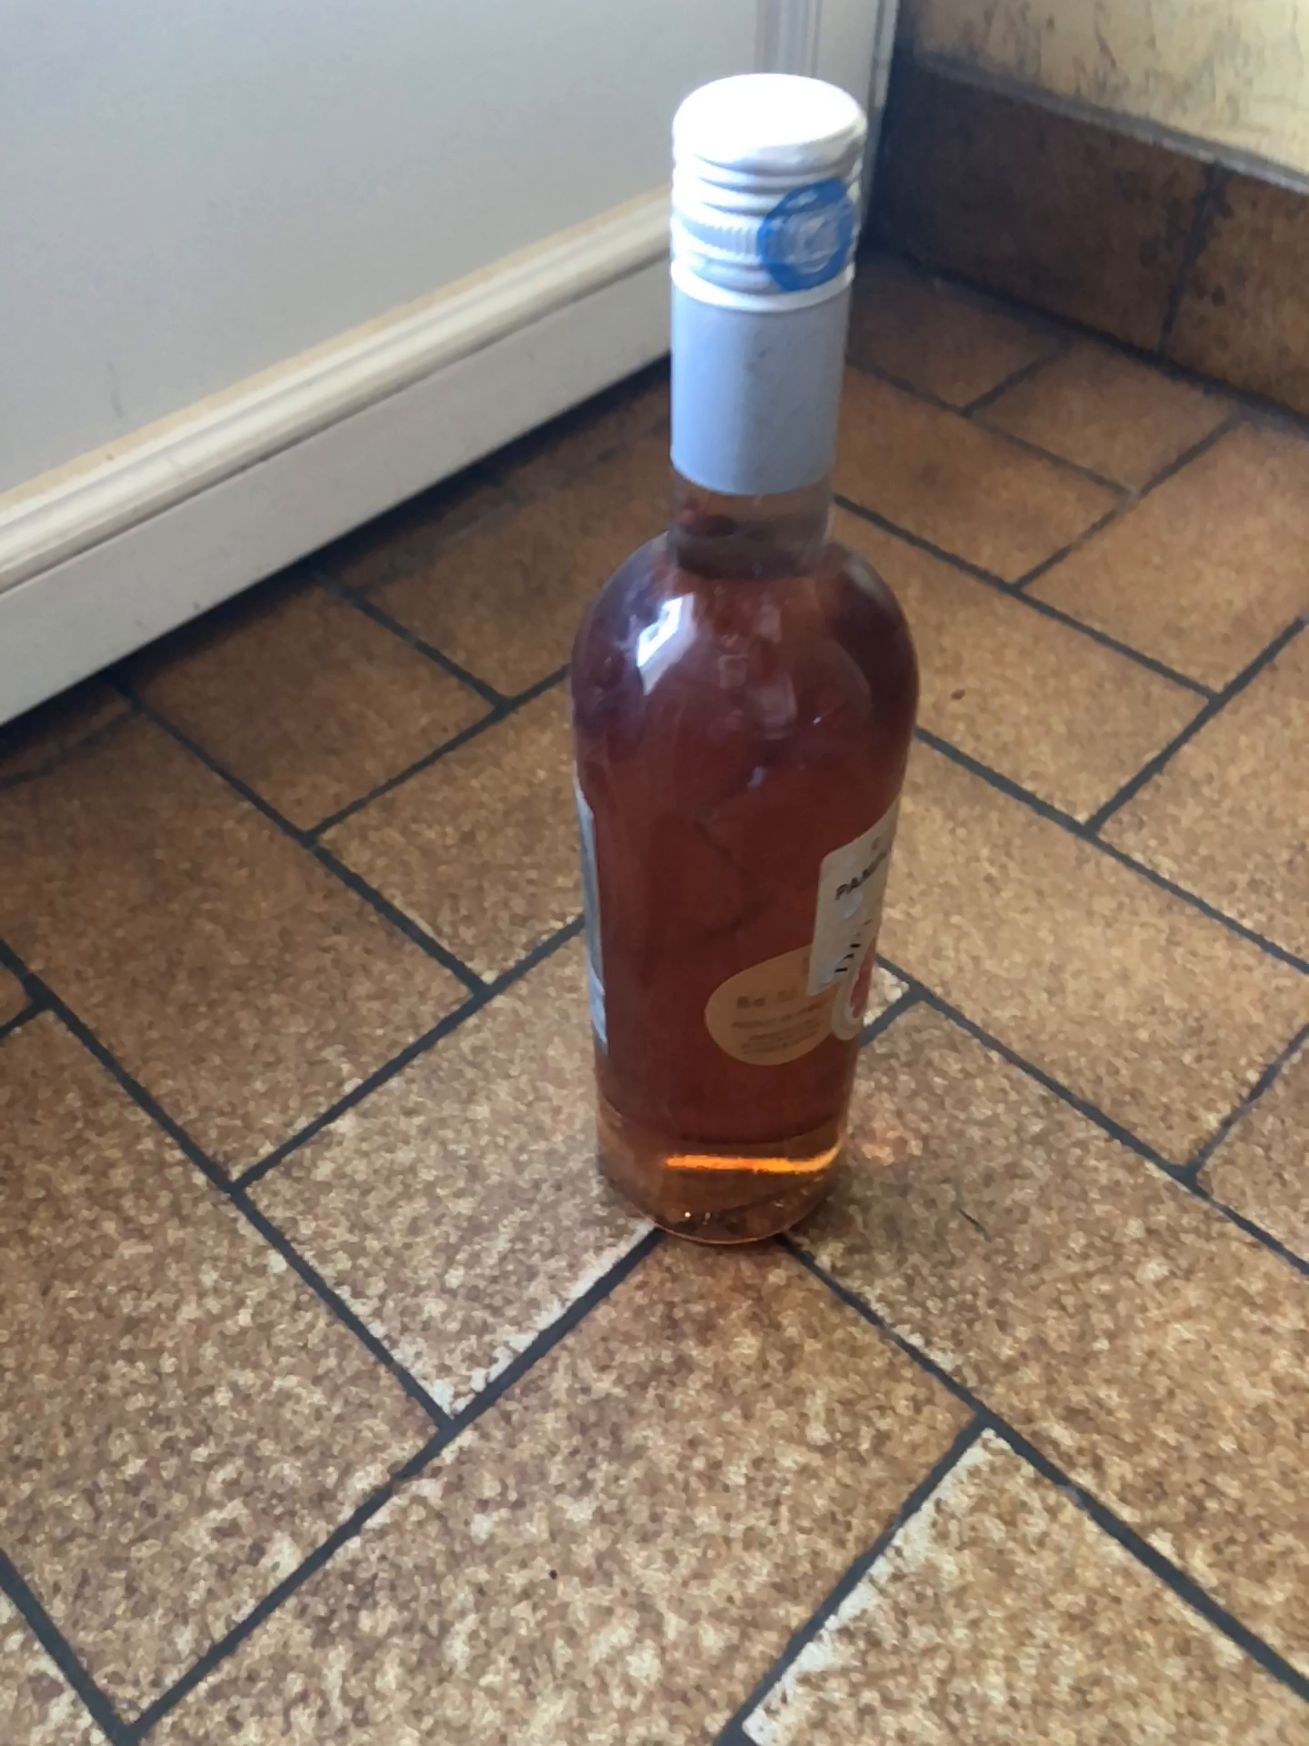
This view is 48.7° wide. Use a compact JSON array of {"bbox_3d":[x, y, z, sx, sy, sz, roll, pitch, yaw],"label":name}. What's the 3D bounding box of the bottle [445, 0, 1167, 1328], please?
[{"bbox_3d":[0.025,-0.014,0.320,0.080,0.288,0.081,0,48,0],"label":"bottle"}]
